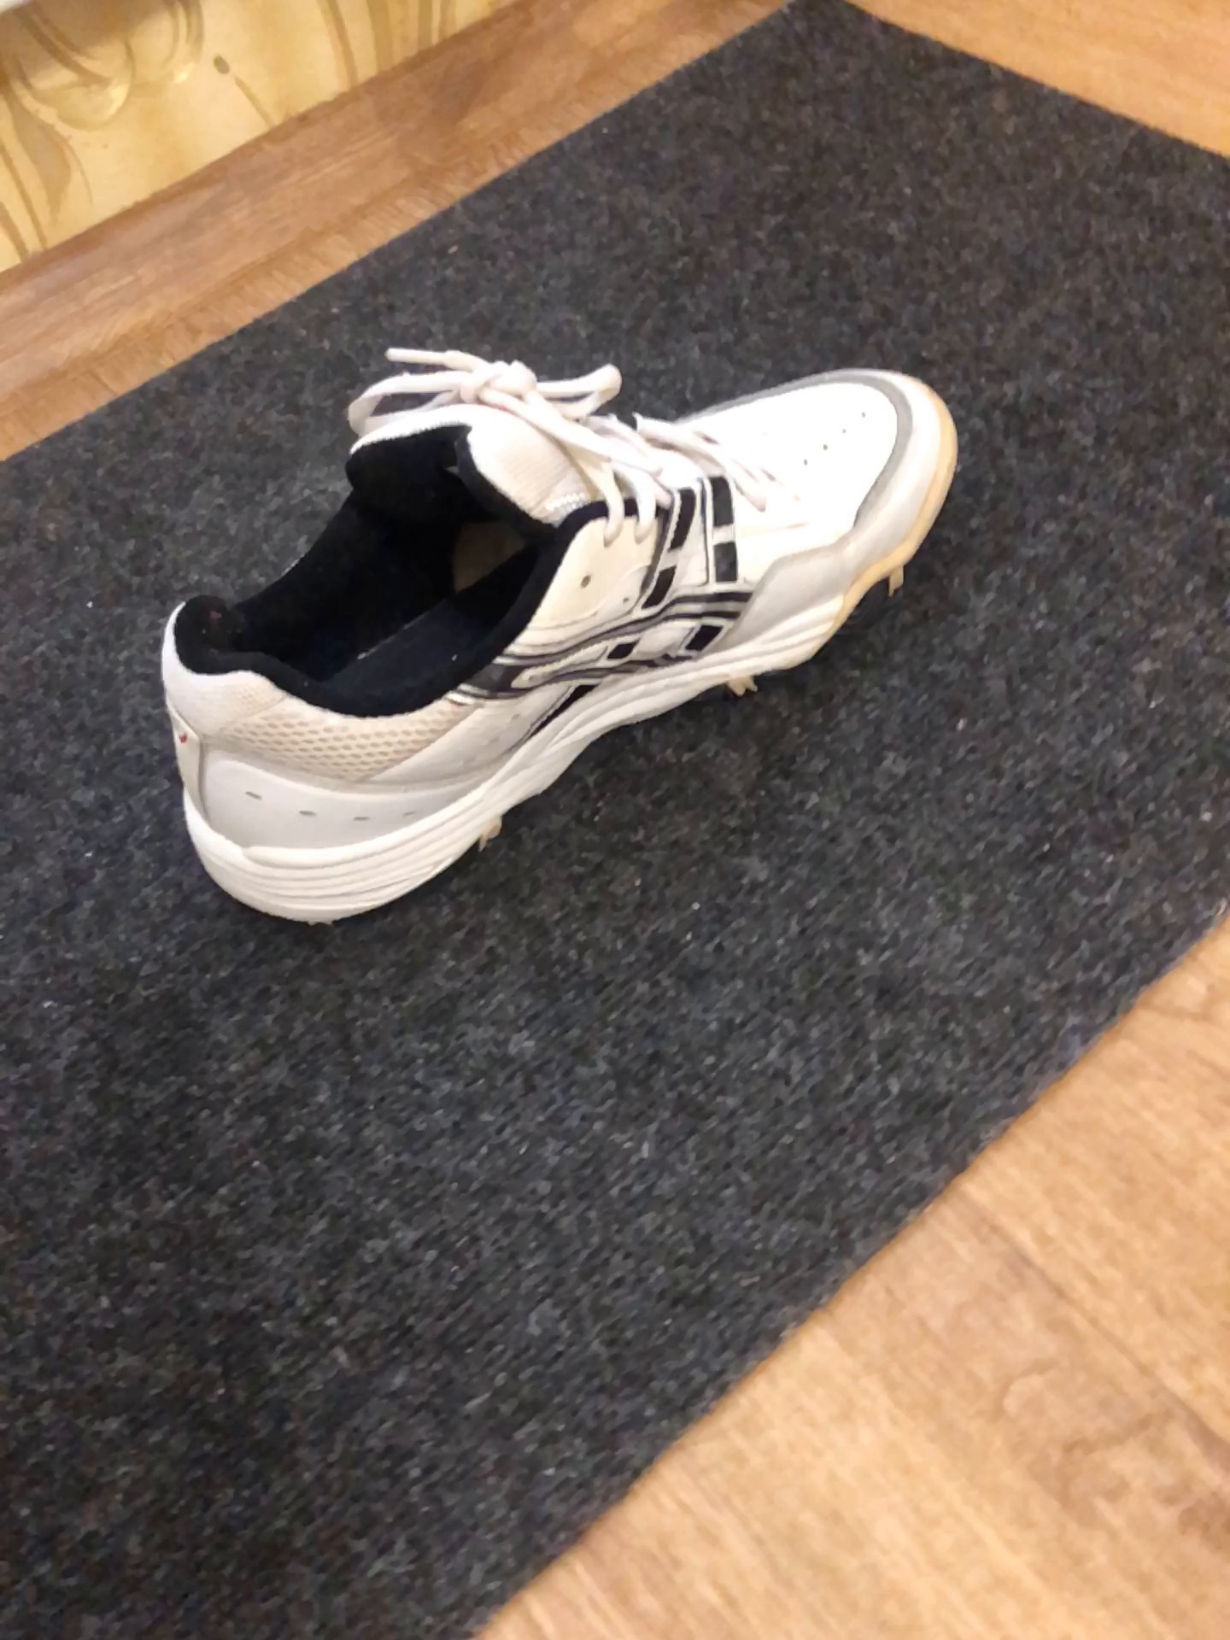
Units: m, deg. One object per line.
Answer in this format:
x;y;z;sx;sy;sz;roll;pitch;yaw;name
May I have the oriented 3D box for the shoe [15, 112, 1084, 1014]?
-0.007;-0.083;0.399;0.280;0.100;0.100;-35;57;-15;shoe
